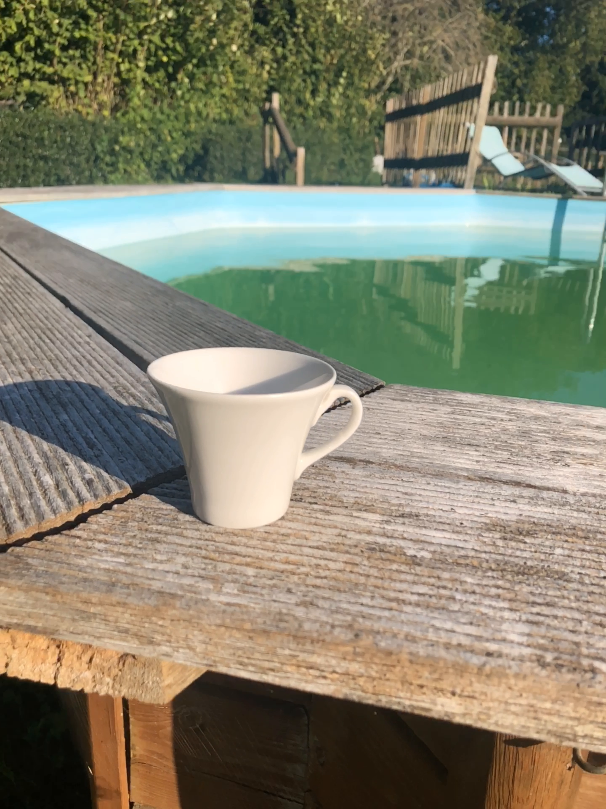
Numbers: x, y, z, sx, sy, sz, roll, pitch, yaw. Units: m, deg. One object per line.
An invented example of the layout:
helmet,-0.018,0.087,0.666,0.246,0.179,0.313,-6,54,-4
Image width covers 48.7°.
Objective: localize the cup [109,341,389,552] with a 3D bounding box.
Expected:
cup,-0.027,0.011,0.272,0.097,0.053,0.076,-4,19,-16
